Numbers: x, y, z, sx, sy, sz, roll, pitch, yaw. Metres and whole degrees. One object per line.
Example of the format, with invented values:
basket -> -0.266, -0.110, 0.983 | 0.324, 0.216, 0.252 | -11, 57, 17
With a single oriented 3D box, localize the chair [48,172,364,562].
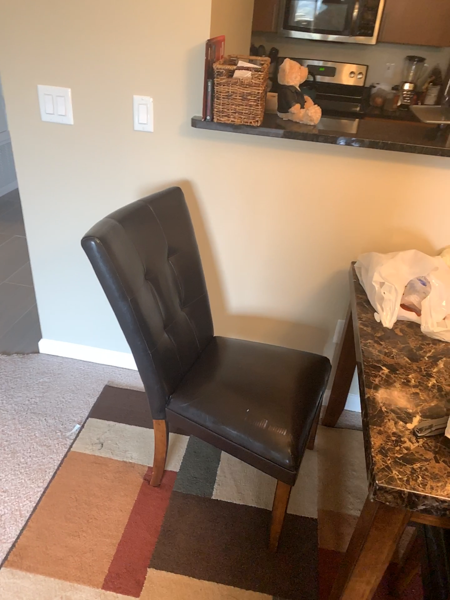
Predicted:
chair -> -0.007, 0.163, 1.638 | 0.731, 0.925, 0.814 | 13, 32, 13
